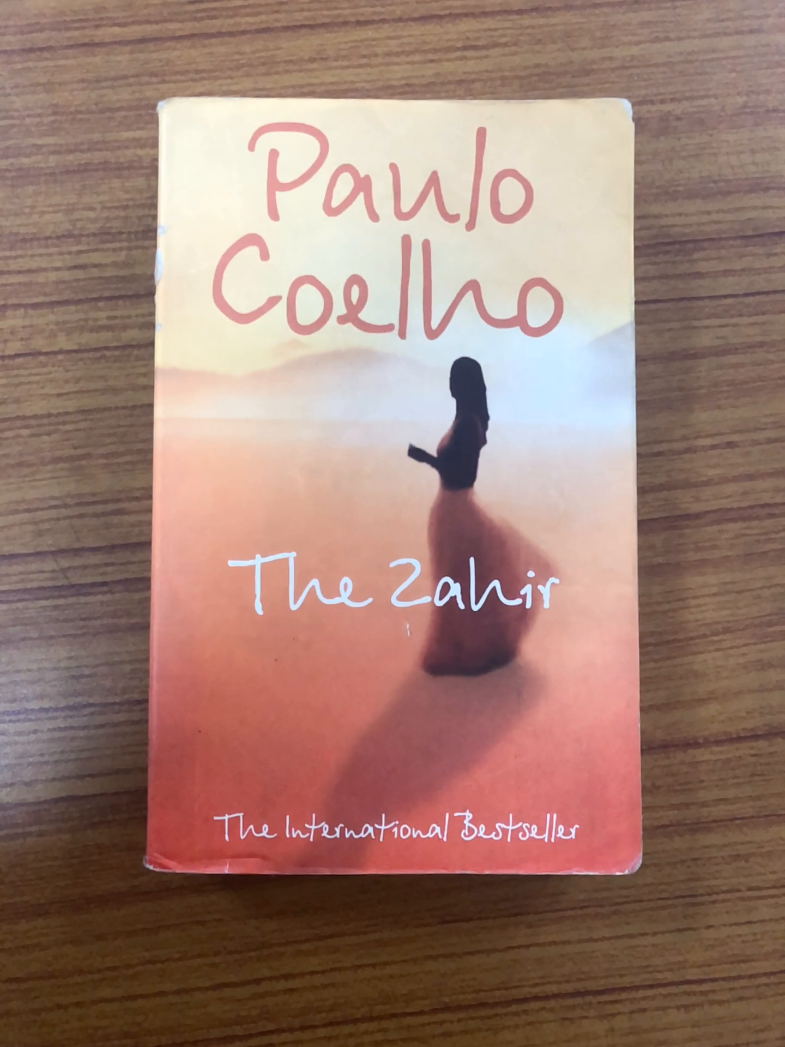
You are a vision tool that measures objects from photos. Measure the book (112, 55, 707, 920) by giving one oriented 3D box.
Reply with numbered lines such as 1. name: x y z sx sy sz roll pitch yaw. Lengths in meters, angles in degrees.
1. book: 0.006 -0.008 0.207 0.120 0.040 0.180 2 86 -2
